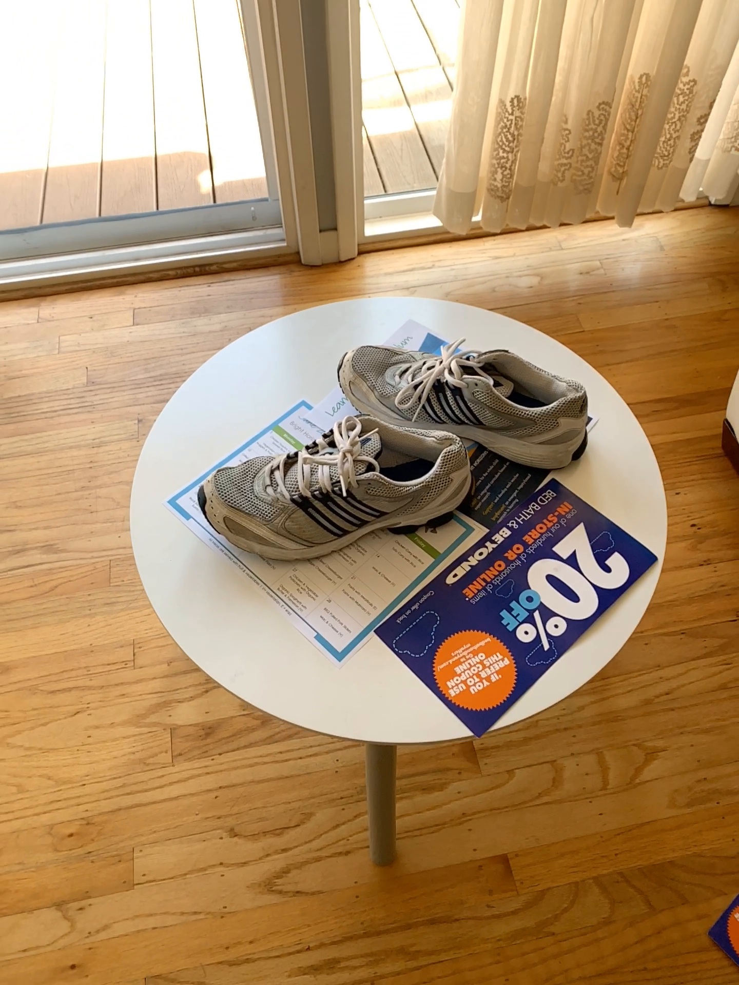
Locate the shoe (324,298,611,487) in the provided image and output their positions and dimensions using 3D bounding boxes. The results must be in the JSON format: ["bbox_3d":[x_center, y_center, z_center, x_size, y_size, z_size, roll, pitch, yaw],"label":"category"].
[{"bbox_3d":[0.103,-0.113,0.828,0.280,0.080,0.110,18,58,13],"label":"shoe"}]

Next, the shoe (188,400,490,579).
[{"bbox_3d":[-0.033,-0.005,0.771,0.280,0.080,0.120,-8,56,-5],"label":"shoe"}]
